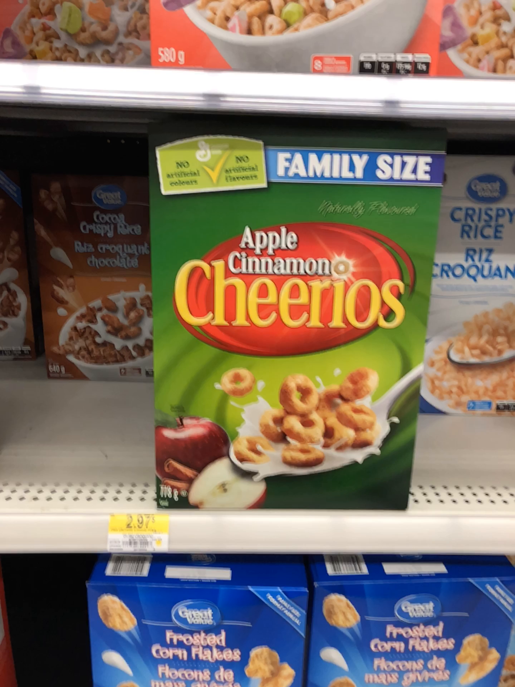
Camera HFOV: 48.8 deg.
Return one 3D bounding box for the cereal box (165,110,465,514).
[{"bbox_3d":[0.041,-0.023,0.543,0.240,0.358,0.090,0,16,-3],"label":"cereal box"}]
